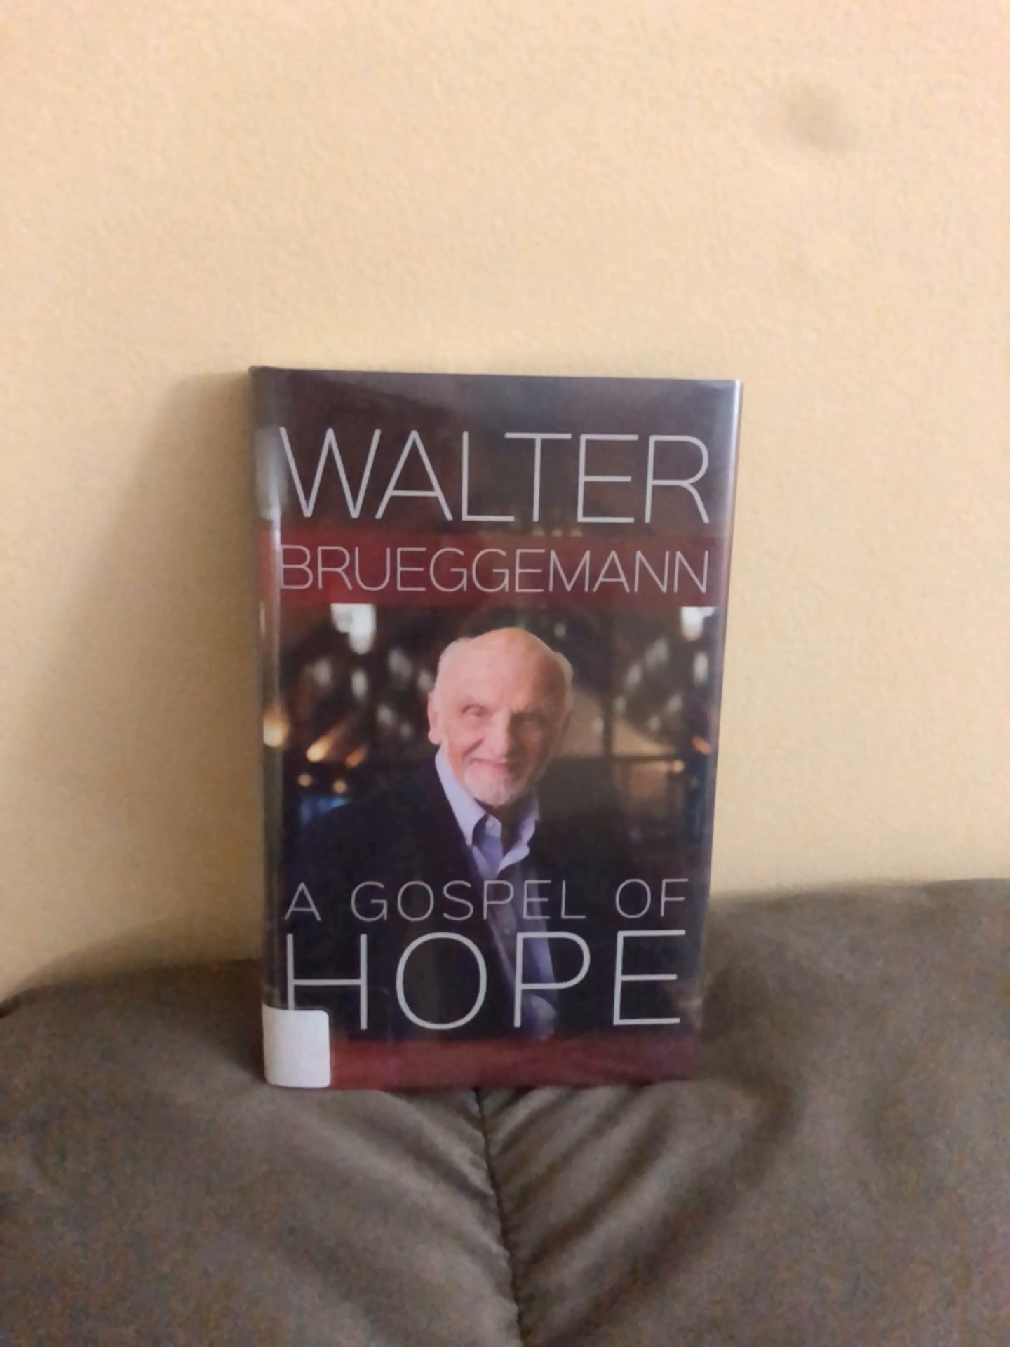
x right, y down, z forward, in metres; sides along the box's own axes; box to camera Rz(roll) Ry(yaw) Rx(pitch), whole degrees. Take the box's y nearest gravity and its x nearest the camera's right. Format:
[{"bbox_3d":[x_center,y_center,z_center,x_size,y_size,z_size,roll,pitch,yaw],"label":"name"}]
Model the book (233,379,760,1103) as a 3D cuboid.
[{"bbox_3d":[-0.002,0.022,0.330,0.140,0.210,0.027,0,10,-1],"label":"book"}]
